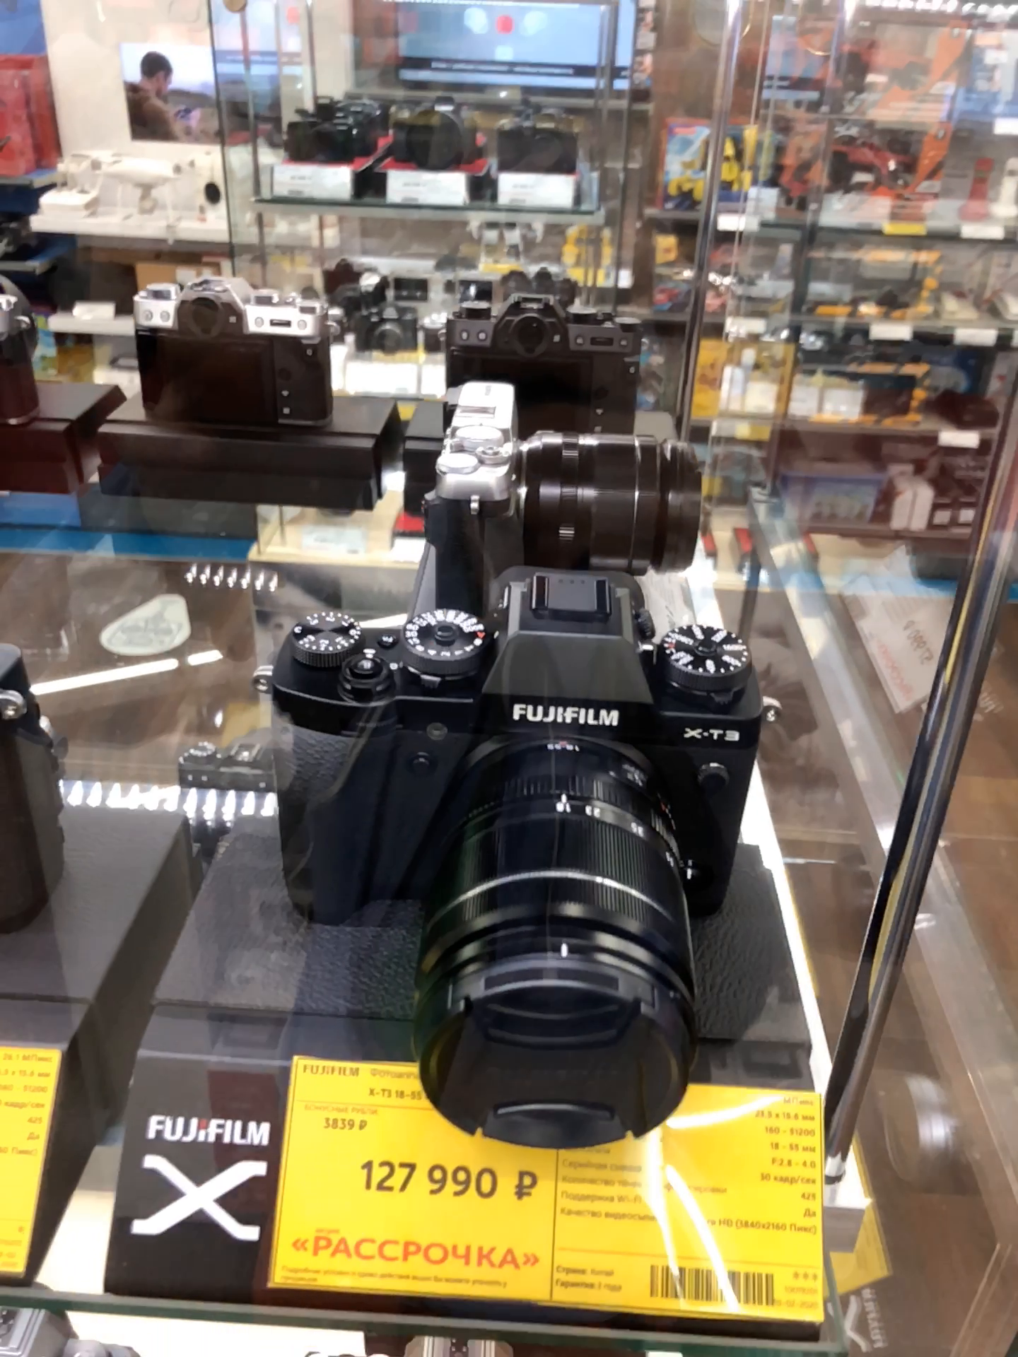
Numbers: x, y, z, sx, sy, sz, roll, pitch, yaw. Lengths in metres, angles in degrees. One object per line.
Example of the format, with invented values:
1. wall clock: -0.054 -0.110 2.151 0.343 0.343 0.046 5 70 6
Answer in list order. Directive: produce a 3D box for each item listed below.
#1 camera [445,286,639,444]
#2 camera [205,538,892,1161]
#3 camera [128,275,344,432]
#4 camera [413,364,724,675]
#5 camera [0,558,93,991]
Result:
1. camera: 0.020 -0.189 0.677 0.109 0.074 0.056 4 30 4
2. camera: 0.006 0.036 0.287 0.129 0.099 0.120 2 30 -1
3. camera: -0.160 -0.196 0.675 0.109 0.074 0.056 4 30 4
4. camera: 0.024 -0.074 0.491 0.115 0.088 0.126 4 30 2
5. camera: -0.193 0.024 0.303 0.125 0.088 0.066 3 30 1
